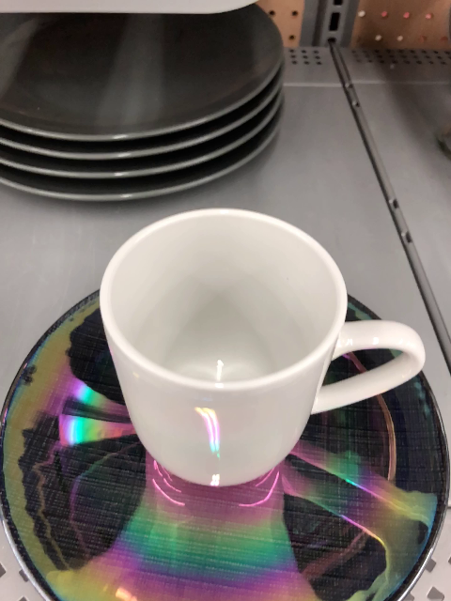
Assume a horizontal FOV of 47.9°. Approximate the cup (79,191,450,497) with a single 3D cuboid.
[{"bbox_3d":[0.013,0.020,0.206,0.113,0.098,0.078,-1,49,-3],"label":"cup"}]
